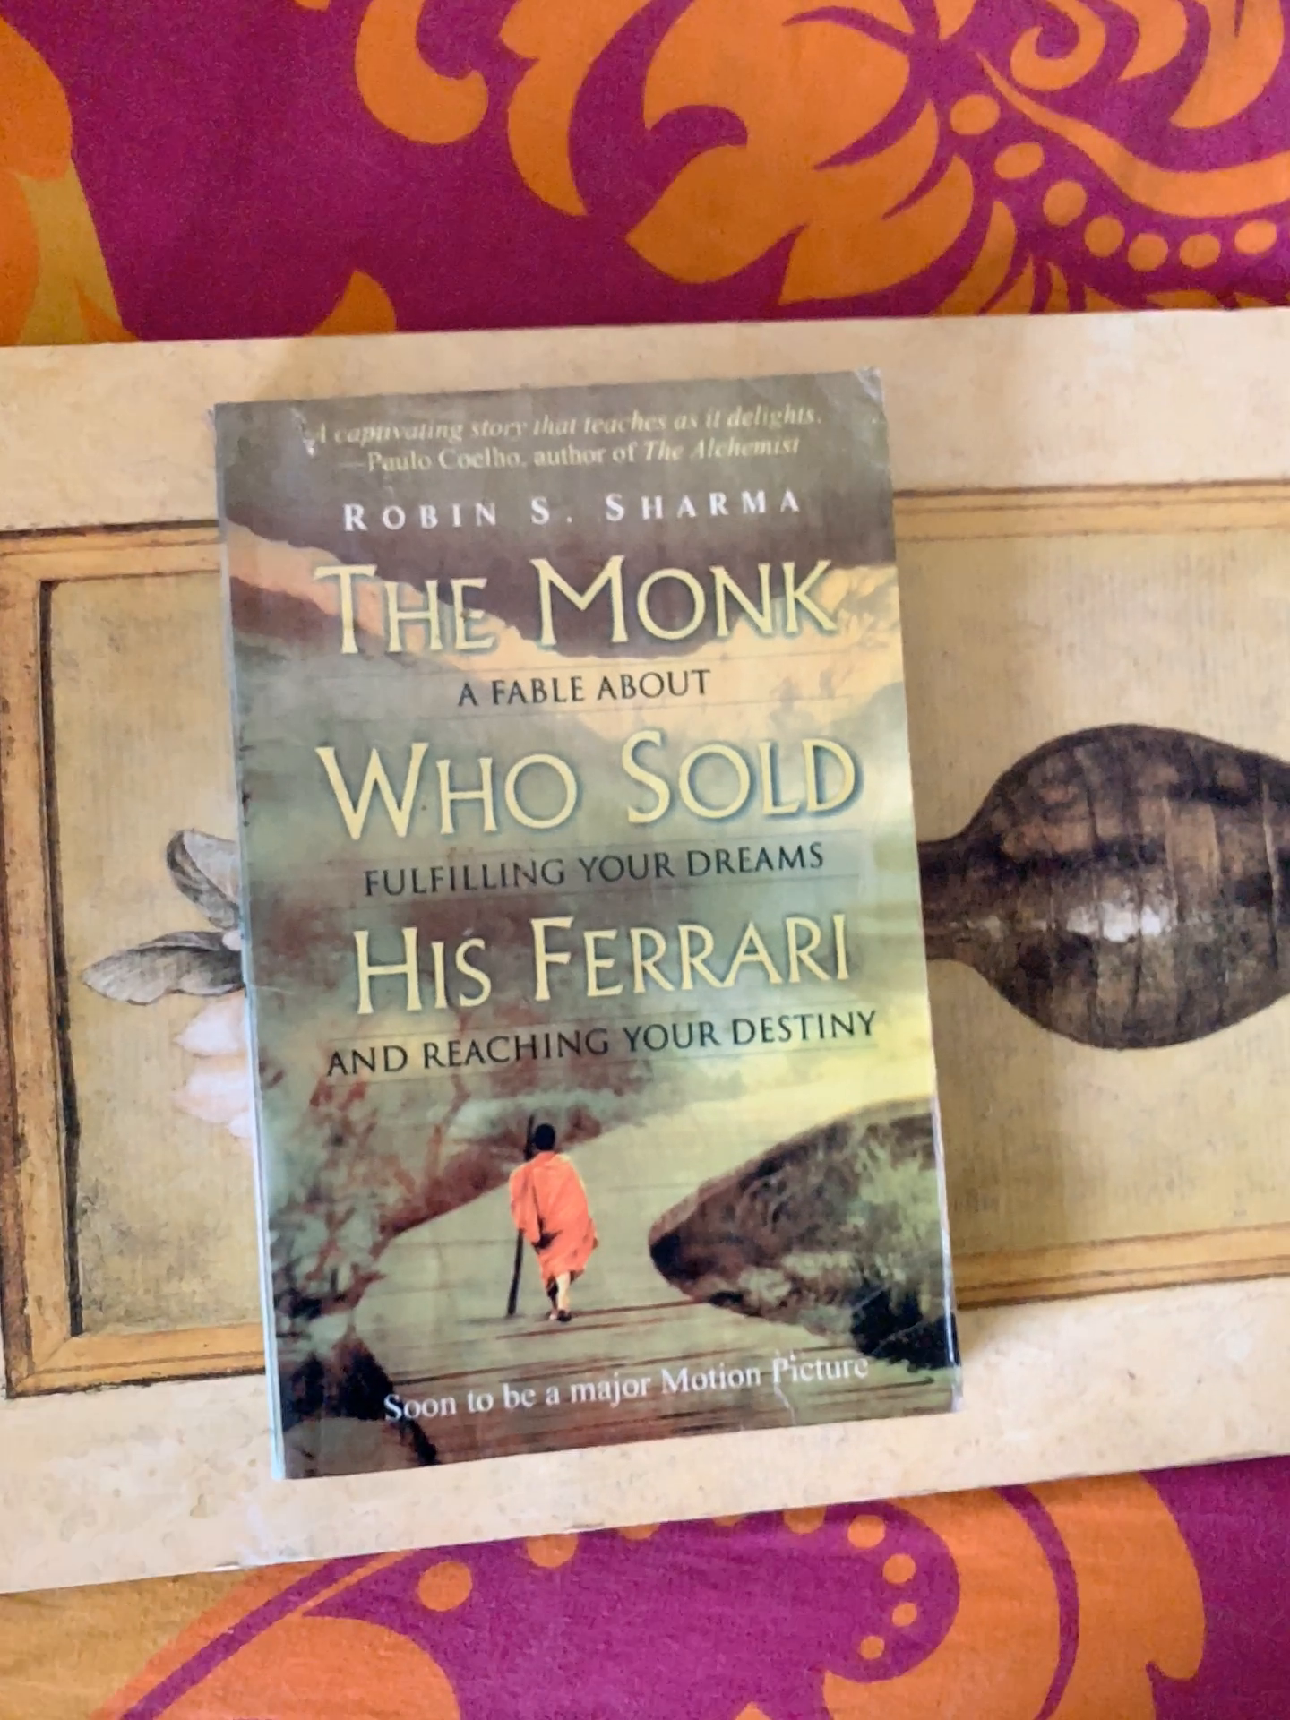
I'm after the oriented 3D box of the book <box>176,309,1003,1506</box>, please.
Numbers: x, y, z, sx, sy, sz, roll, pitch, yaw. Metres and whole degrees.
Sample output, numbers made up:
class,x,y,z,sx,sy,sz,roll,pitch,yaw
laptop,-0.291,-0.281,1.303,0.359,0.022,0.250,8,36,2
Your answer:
class,x,y,z,sx,sy,sz,roll,pitch,yaw
book,-0.010,0.004,0.251,0.130,0.030,0.200,-4,88,-6
